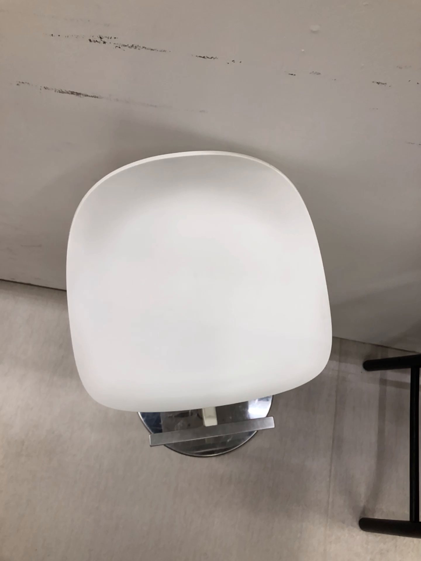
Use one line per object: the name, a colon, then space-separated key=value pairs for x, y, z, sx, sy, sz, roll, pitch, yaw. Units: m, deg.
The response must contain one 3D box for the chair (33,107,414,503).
chair: x=-0.019 y=0.128 z=0.973 sx=0.440 sy=0.748 sz=0.512 roll=-7 pitch=68 yaw=-4
